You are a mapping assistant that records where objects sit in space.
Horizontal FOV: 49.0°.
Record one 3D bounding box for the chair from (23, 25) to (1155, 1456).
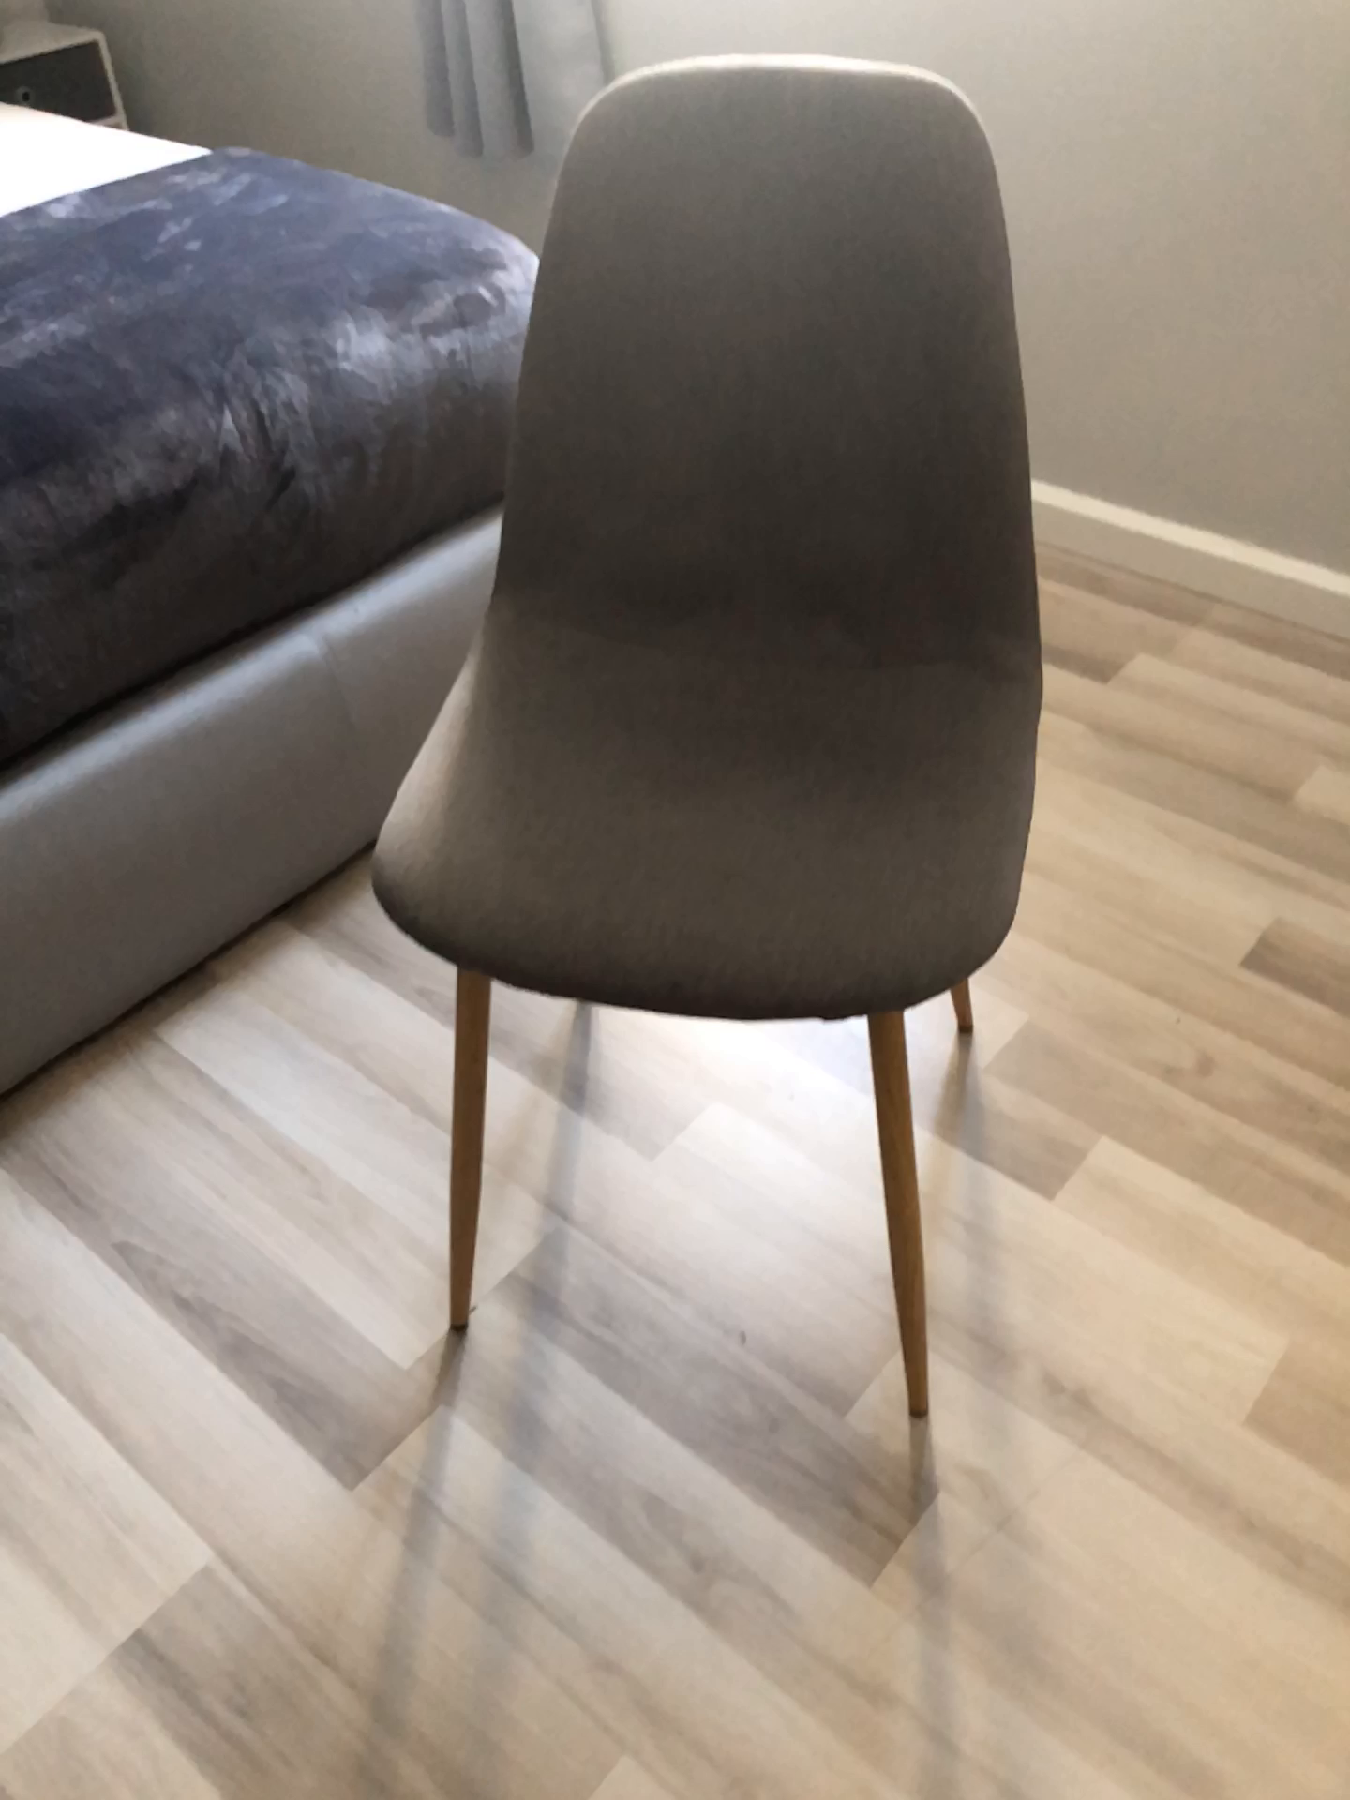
[{"bbox_3d":[0.030,-0.111,1.058,0.470,0.785,0.574,7,42,11],"label":"chair"}]
